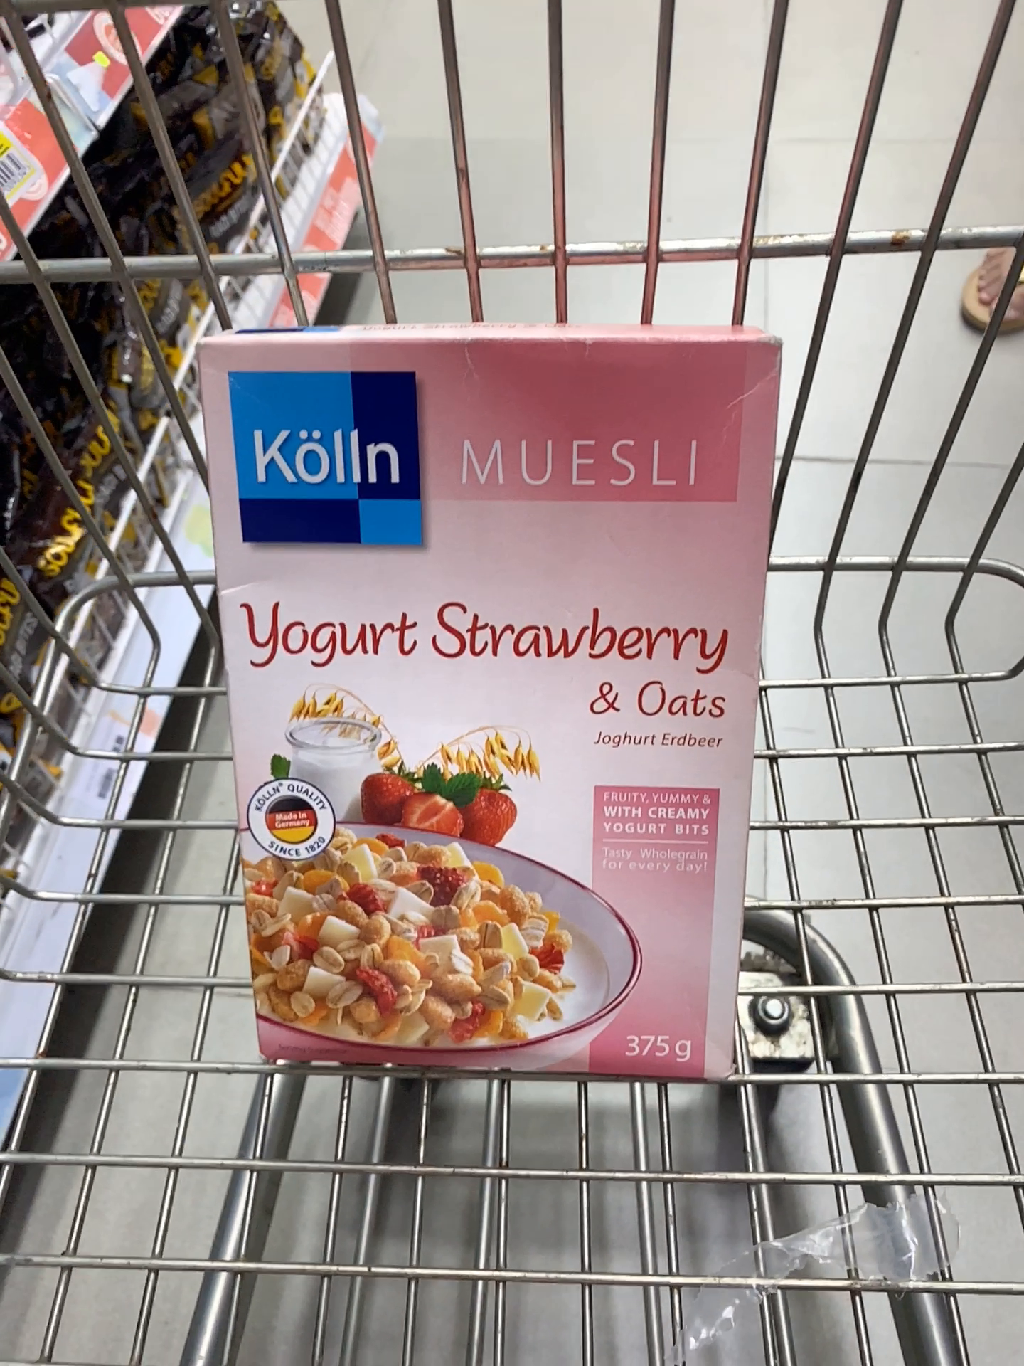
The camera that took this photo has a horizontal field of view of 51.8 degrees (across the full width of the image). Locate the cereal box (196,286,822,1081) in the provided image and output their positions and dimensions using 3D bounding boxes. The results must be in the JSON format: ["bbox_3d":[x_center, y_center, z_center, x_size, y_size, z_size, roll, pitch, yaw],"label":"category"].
[{"bbox_3d":[0.000,0.004,0.308,0.150,0.220,0.050,1,17,4],"label":"cereal box"}]
